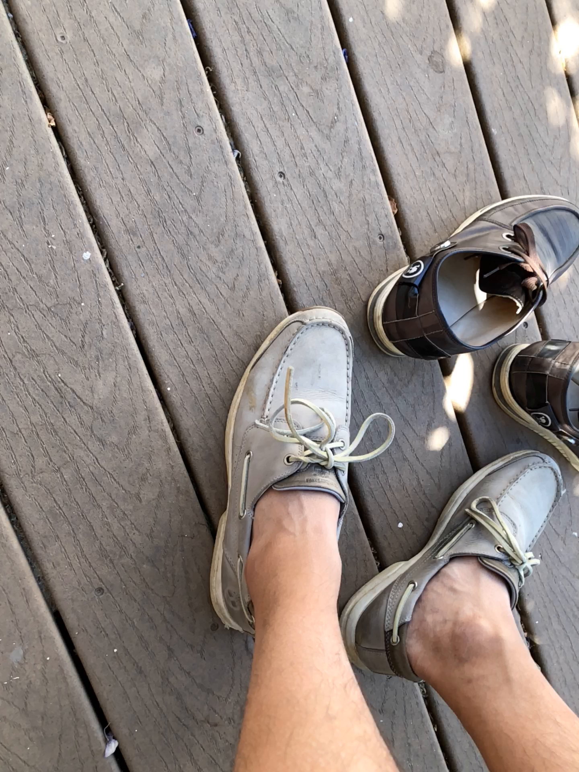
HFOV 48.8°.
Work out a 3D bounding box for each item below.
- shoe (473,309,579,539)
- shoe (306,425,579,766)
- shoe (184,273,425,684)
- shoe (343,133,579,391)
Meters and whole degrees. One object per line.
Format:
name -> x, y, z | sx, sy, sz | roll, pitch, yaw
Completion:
shoe -> 0.363, 0.046, 0.690 | 0.304, 0.111, 0.110 | 29, 80, -22
shoe -> 0.179, 0.181, 0.618 | 0.304, 0.111, 0.110 | -40, 106, -18
shoe -> 0.009, 0.074, 0.542 | 0.110, 0.111, 0.303 | 13, 86, -23
shoe -> 0.219, -0.121, 0.624 | 0.304, 0.111, 0.110 | -32, 103, -20
